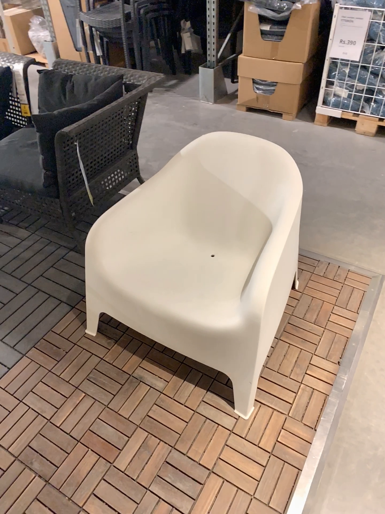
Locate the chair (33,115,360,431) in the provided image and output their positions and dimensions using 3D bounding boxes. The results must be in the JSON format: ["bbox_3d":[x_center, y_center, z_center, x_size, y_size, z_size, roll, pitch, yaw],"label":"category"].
[{"bbox_3d":[0.057,-0.013,1.476,0.771,0.638,0.762,21,47,24],"label":"chair"}]
